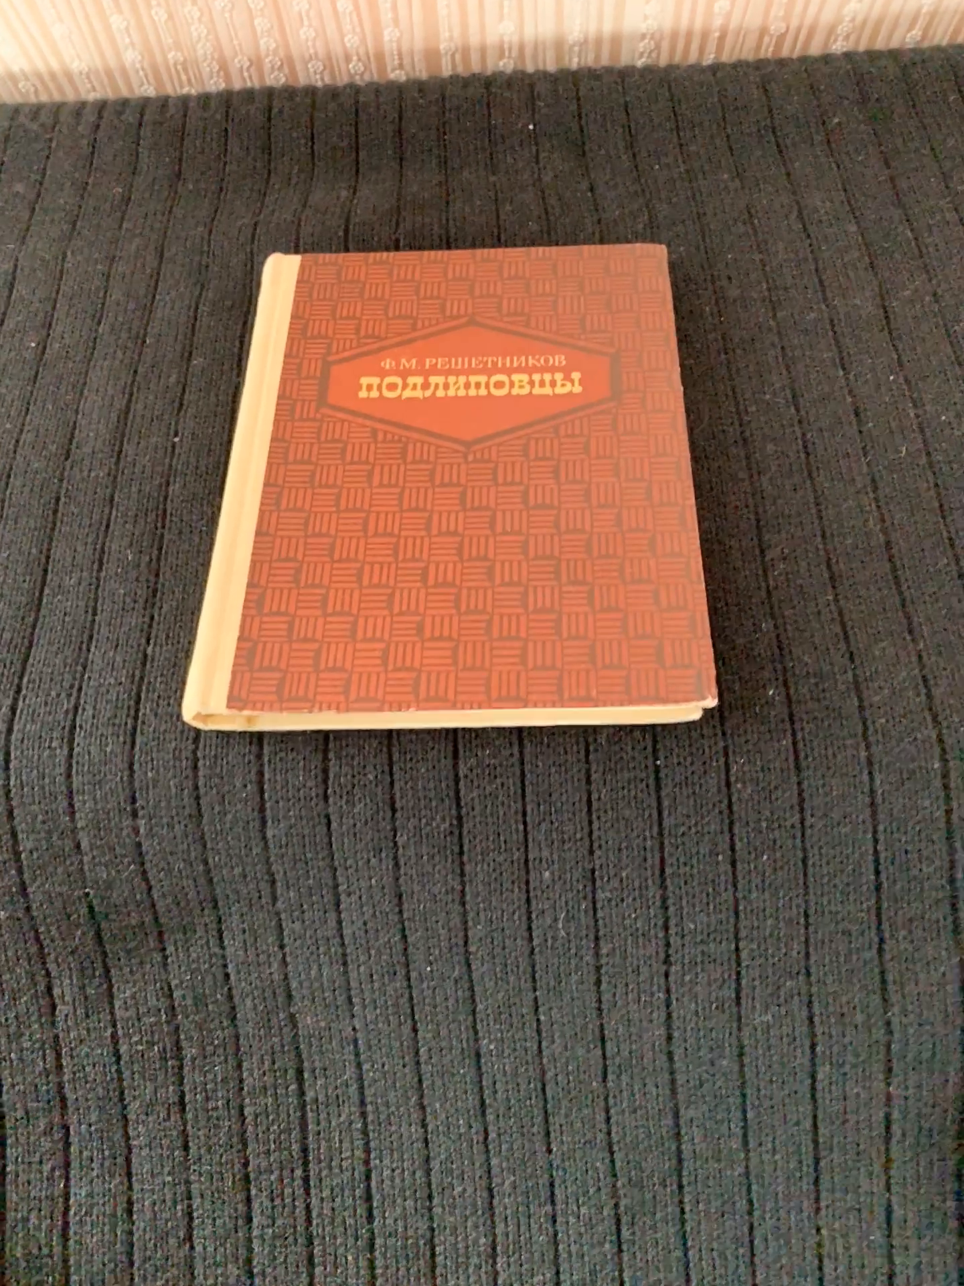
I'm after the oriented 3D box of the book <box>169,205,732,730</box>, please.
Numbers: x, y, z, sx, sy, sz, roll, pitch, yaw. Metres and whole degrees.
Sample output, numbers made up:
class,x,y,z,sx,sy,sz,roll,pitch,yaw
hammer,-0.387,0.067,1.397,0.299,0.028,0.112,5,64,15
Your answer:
class,x,y,z,sx,sy,sz,roll,pitch,yaw
book,-0.007,-0.060,0.282,0.129,0.015,0.178,-1,58,2
